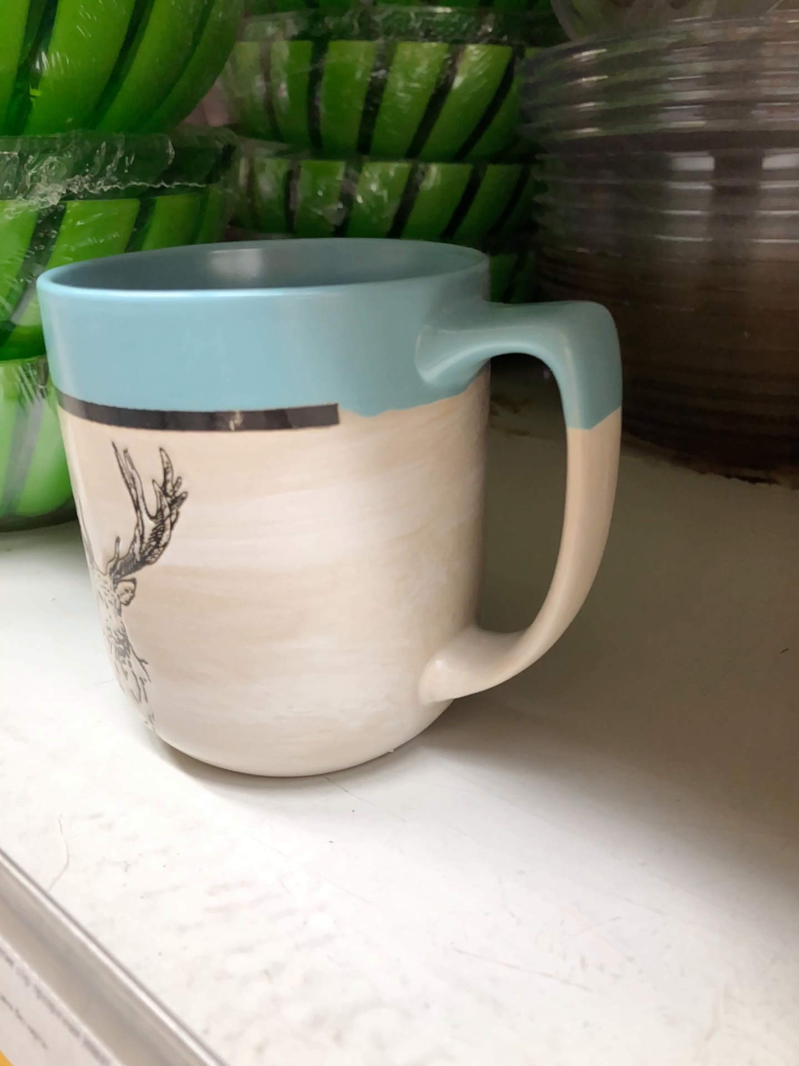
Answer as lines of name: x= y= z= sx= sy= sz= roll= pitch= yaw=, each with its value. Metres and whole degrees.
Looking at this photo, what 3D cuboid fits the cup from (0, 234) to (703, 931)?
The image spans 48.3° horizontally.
cup: x=-0.012 y=-0.008 z=0.199 sx=0.123 sy=0.102 sz=0.094 roll=12 pitch=26 yaw=30
